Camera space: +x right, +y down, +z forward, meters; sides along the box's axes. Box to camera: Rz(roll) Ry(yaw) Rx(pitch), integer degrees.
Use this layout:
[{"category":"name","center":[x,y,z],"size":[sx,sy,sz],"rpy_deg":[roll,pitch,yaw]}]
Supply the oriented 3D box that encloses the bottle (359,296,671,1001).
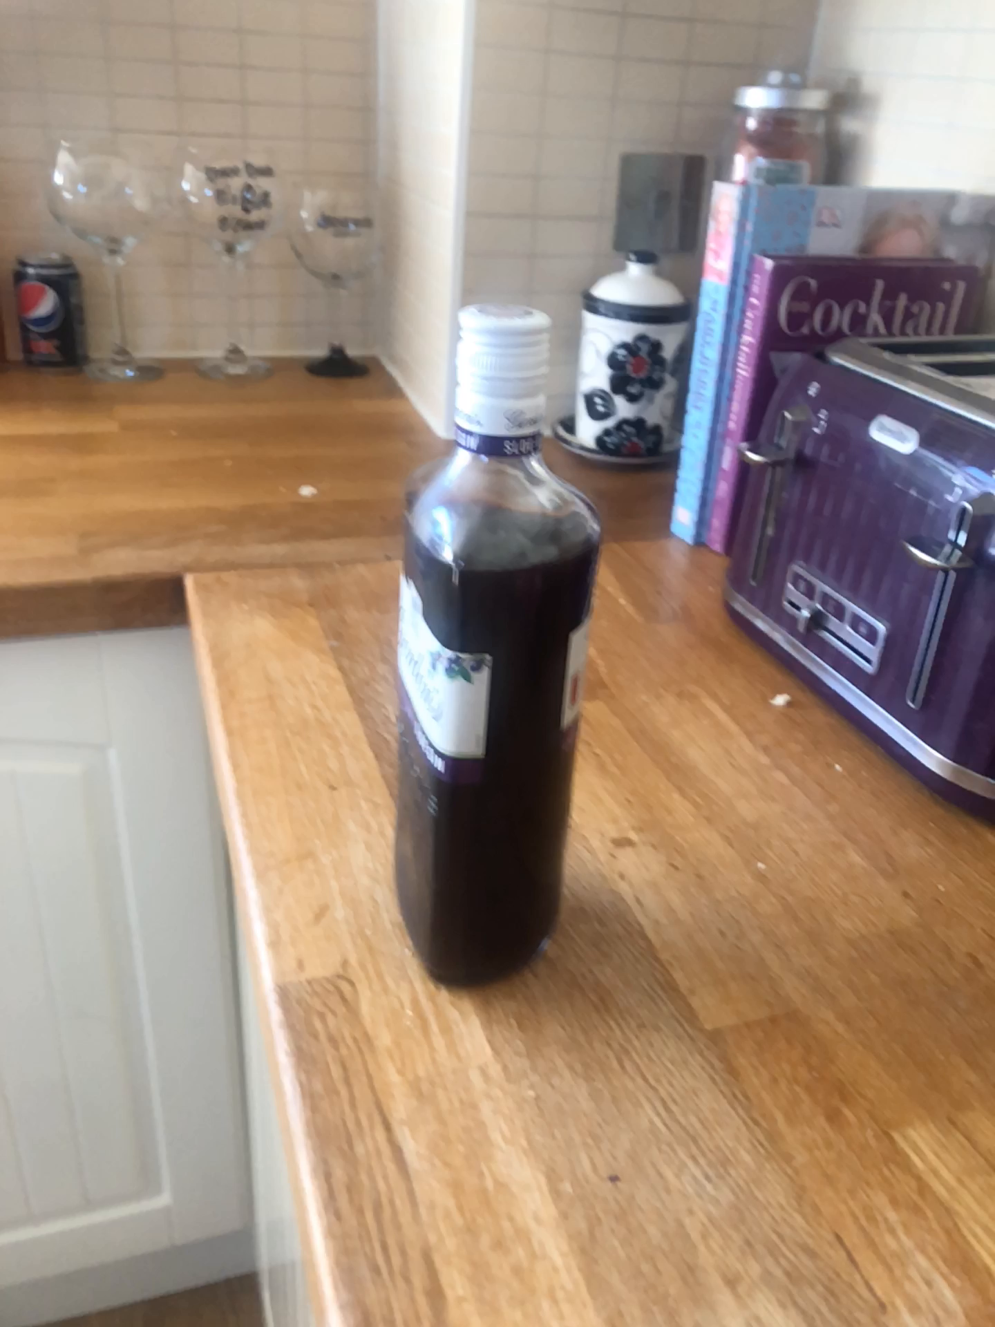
[{"category":"bottle","center":[-0.006,-0.004,0.413],"size":[0.080,0.238,0.101],"rpy_deg":[-3,28,-13]}]
